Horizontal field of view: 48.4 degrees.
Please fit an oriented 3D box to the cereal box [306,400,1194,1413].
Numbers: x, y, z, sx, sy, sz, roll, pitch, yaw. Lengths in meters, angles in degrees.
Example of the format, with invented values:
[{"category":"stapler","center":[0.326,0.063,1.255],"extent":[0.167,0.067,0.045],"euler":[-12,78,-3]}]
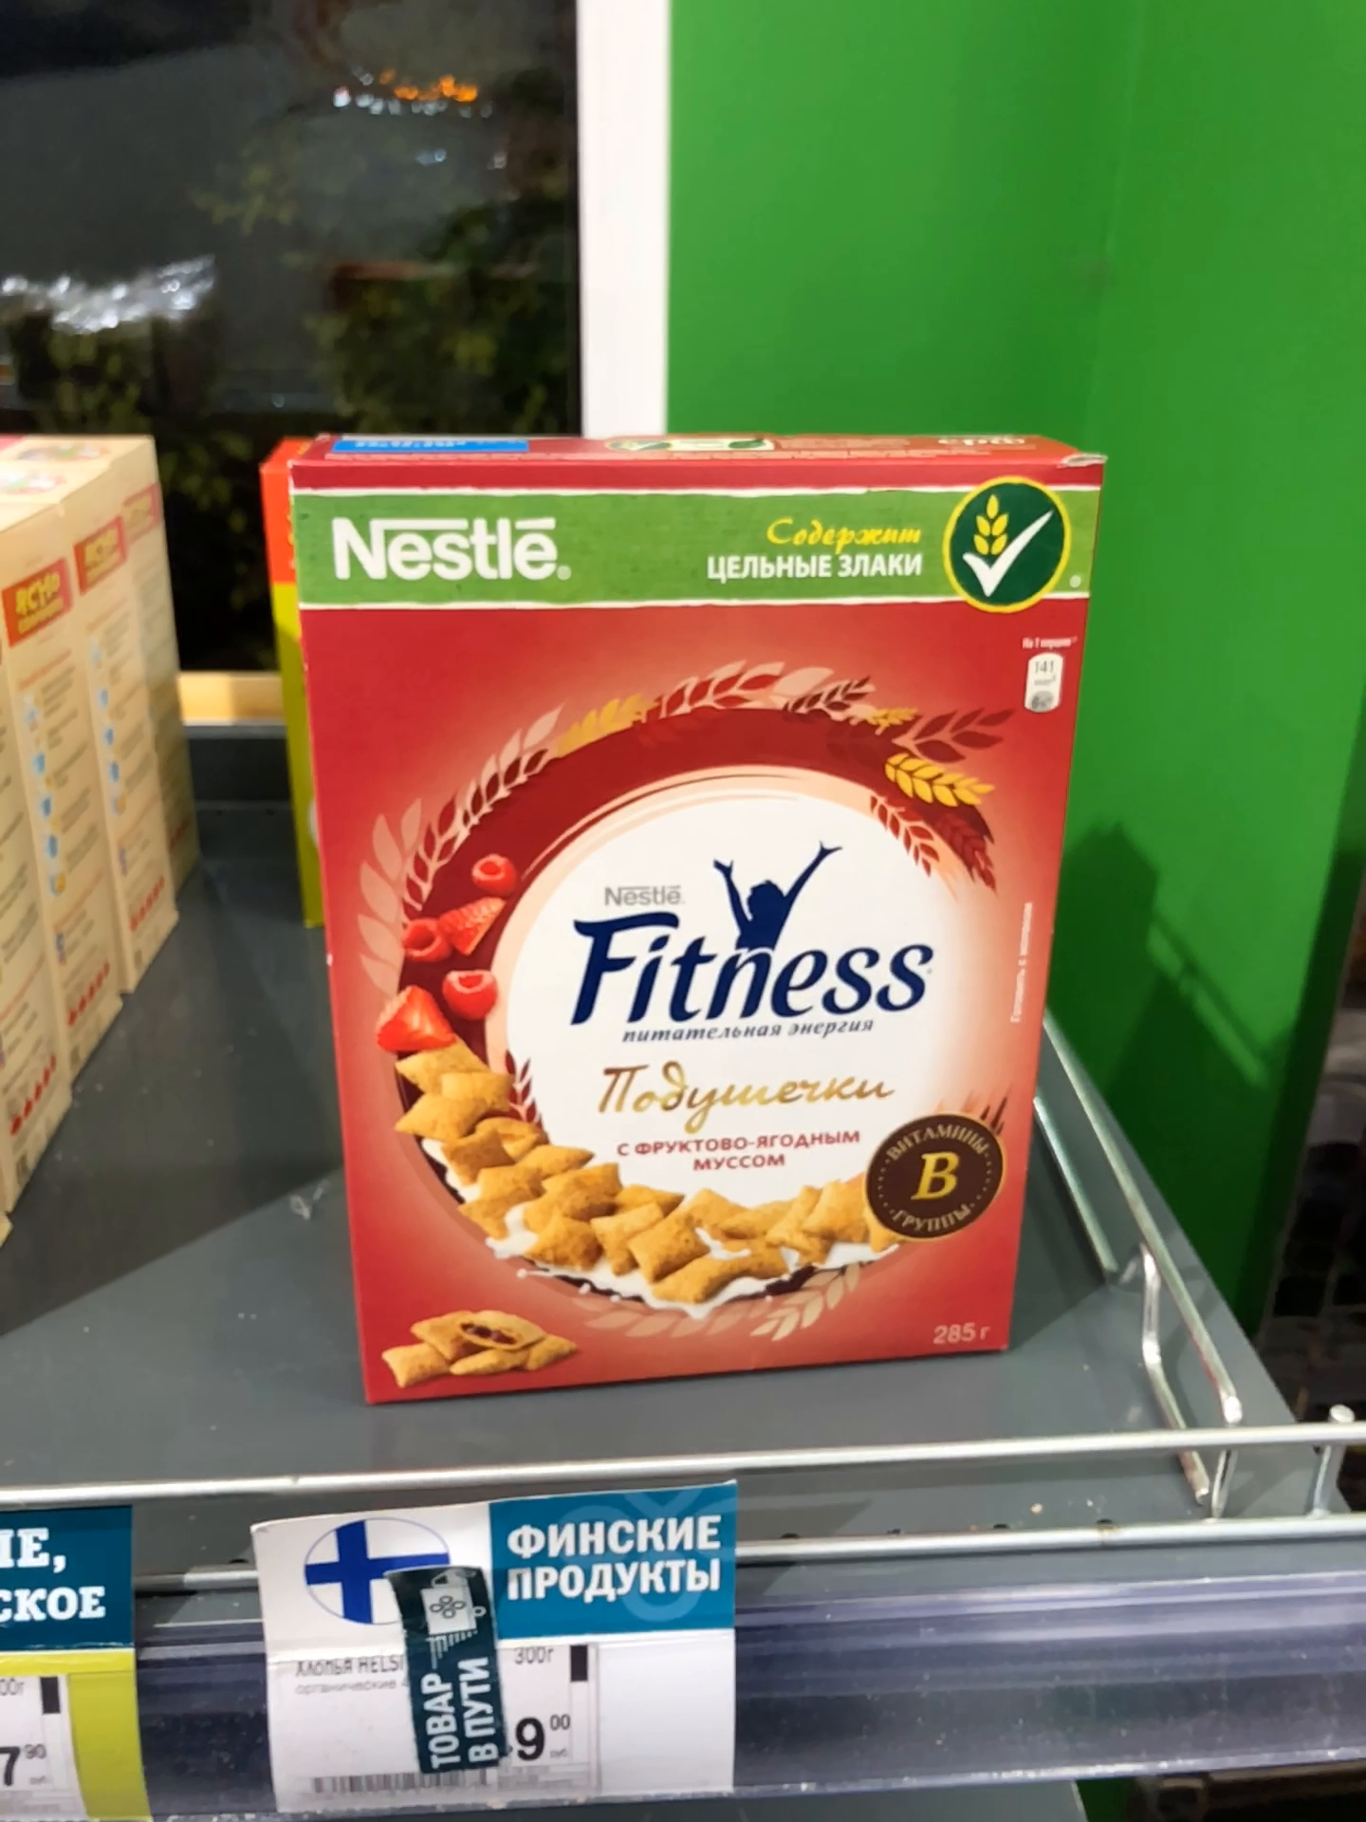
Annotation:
[{"category":"cereal box","center":[0.012,0.001,0.394],"extent":[0.190,0.249,0.060],"euler":[-2,22,-8]}]
